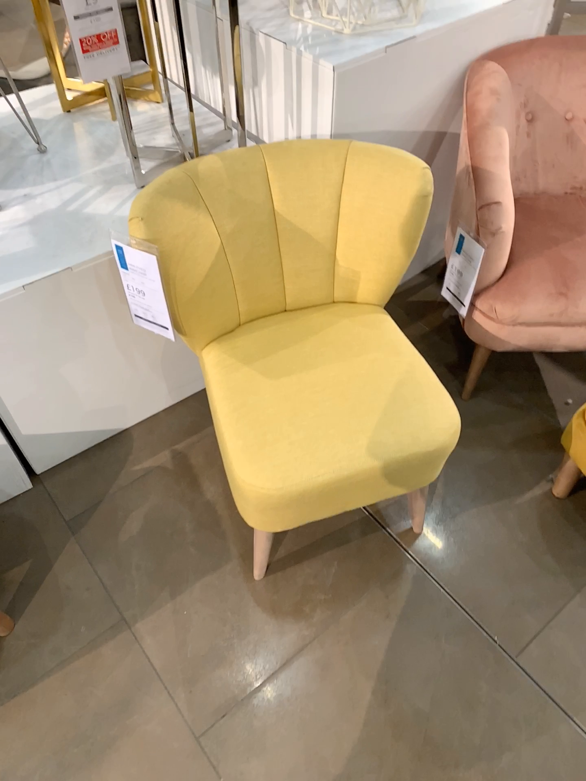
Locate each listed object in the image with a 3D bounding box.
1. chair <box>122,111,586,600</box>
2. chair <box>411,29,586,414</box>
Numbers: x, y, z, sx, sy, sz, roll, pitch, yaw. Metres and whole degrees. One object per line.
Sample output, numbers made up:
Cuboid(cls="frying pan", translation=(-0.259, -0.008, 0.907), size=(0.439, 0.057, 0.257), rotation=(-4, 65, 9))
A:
Cuboid(cls="chair", translation=(0.058, -0.062, 1.234), size=(0.607, 0.696, 0.591), rotation=(-12, 50, -10))
Cuboid(cls="chair", translation=(0.731, -0.423, 1.586), size=(0.617, 0.766, 0.591), rotation=(-3, 49, -2))
